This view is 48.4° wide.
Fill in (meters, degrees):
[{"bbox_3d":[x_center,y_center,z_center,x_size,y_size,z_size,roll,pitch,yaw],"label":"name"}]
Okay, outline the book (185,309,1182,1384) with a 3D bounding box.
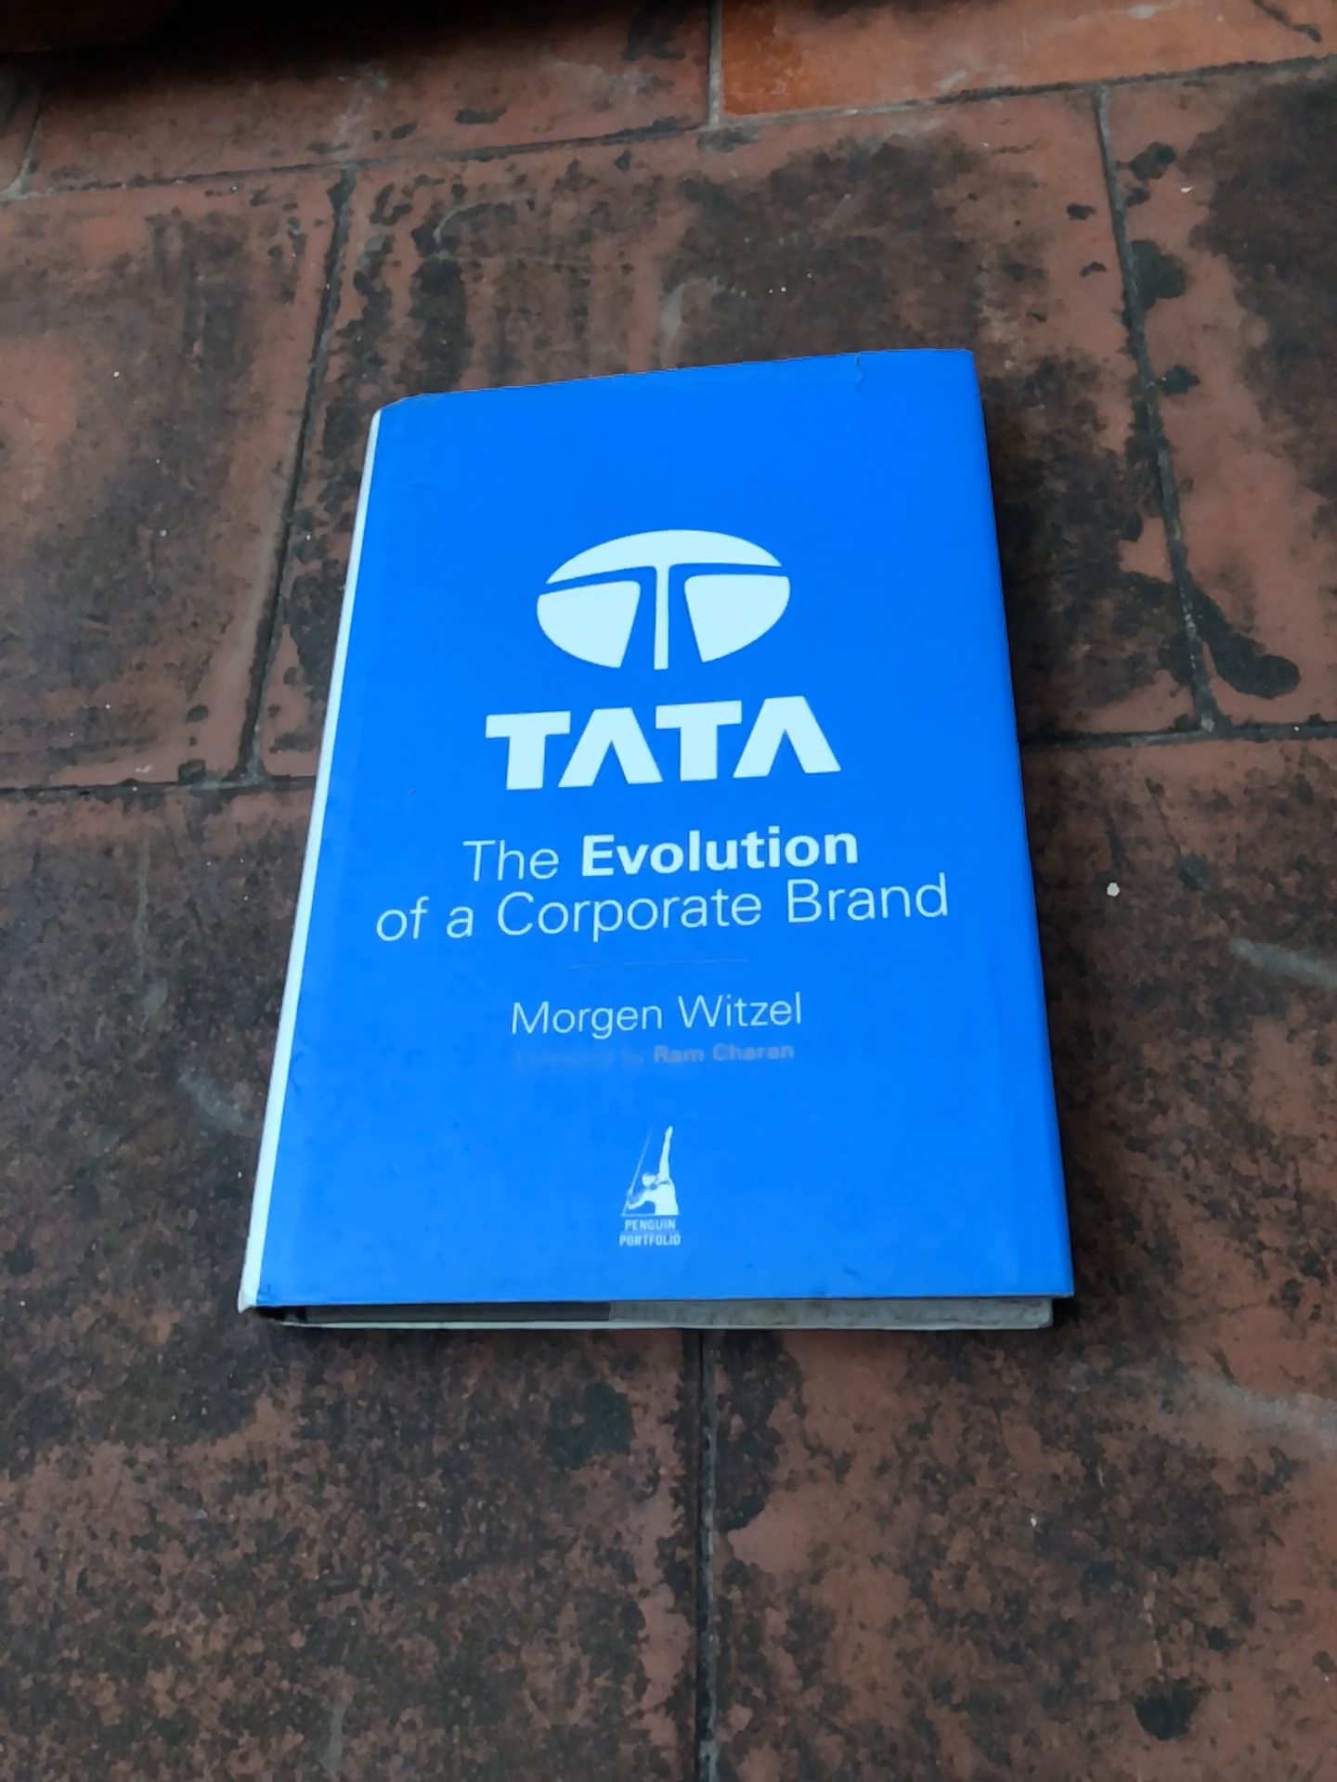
[{"bbox_3d":[0.004,-0.020,0.326,0.170,0.040,0.240,-2,62,7],"label":"book"}]
